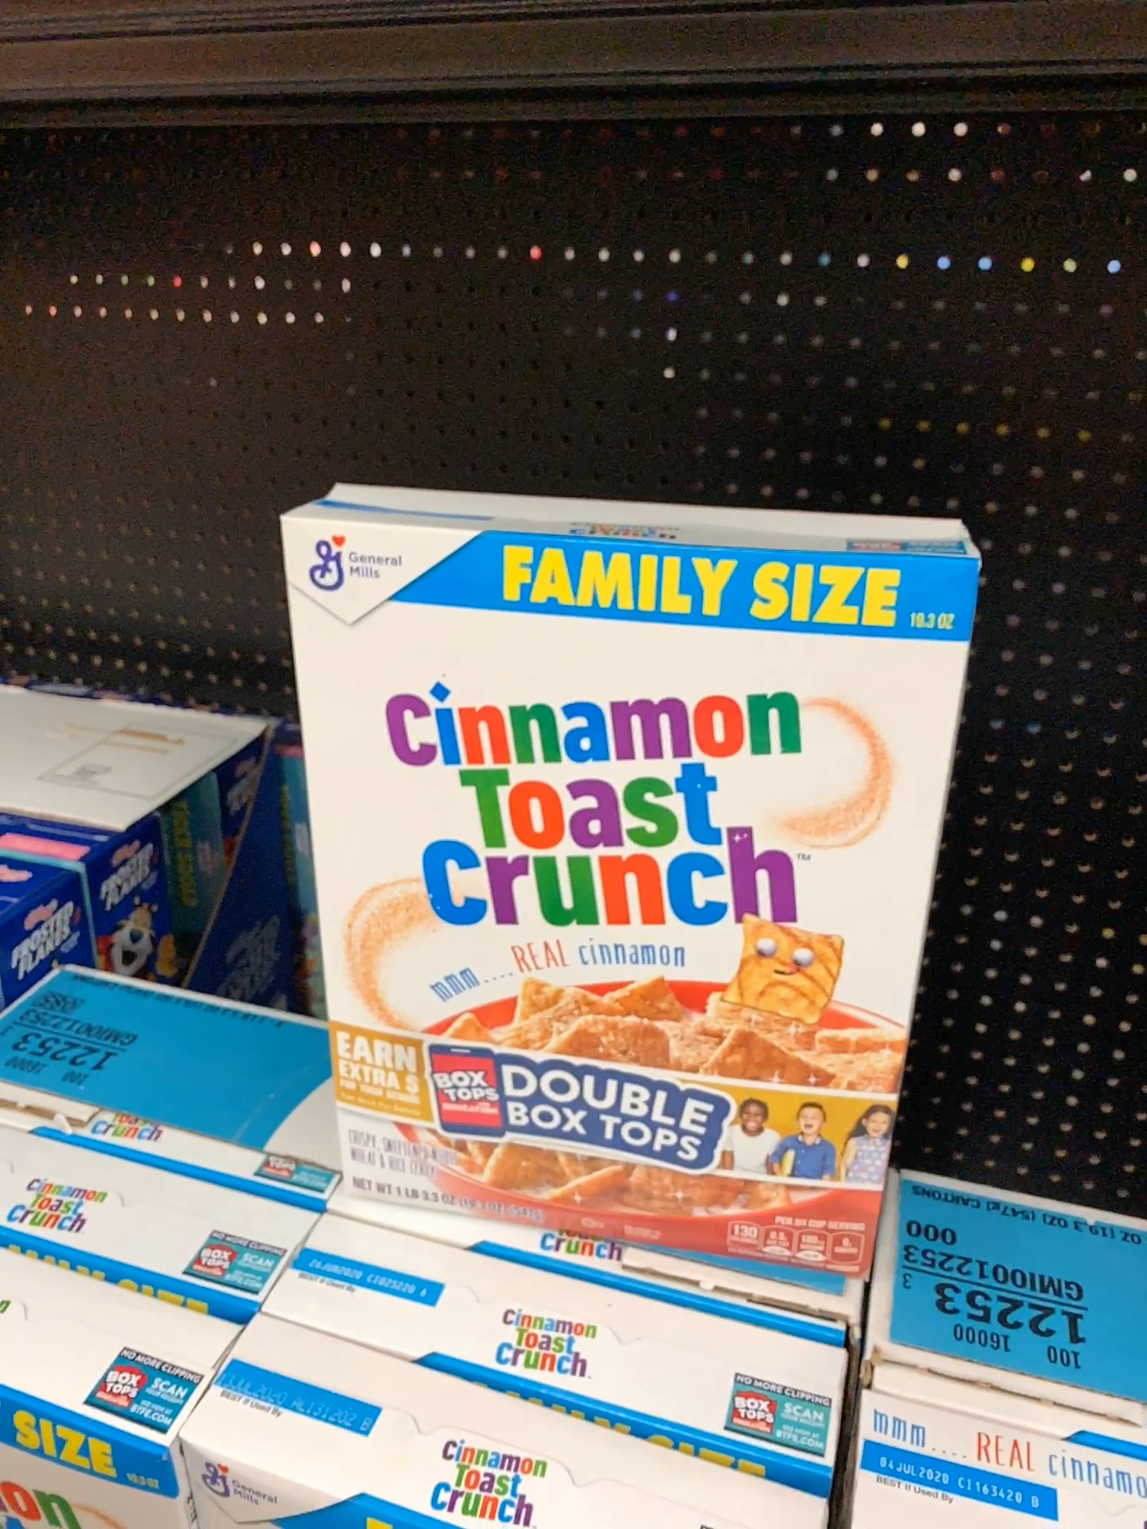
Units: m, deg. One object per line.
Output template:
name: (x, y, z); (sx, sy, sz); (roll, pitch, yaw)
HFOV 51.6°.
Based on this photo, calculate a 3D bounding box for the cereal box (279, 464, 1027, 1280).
cereal box: (0.023, 0.045, 0.463); (0.240, 0.299, 0.060); (6, 24, 11)
